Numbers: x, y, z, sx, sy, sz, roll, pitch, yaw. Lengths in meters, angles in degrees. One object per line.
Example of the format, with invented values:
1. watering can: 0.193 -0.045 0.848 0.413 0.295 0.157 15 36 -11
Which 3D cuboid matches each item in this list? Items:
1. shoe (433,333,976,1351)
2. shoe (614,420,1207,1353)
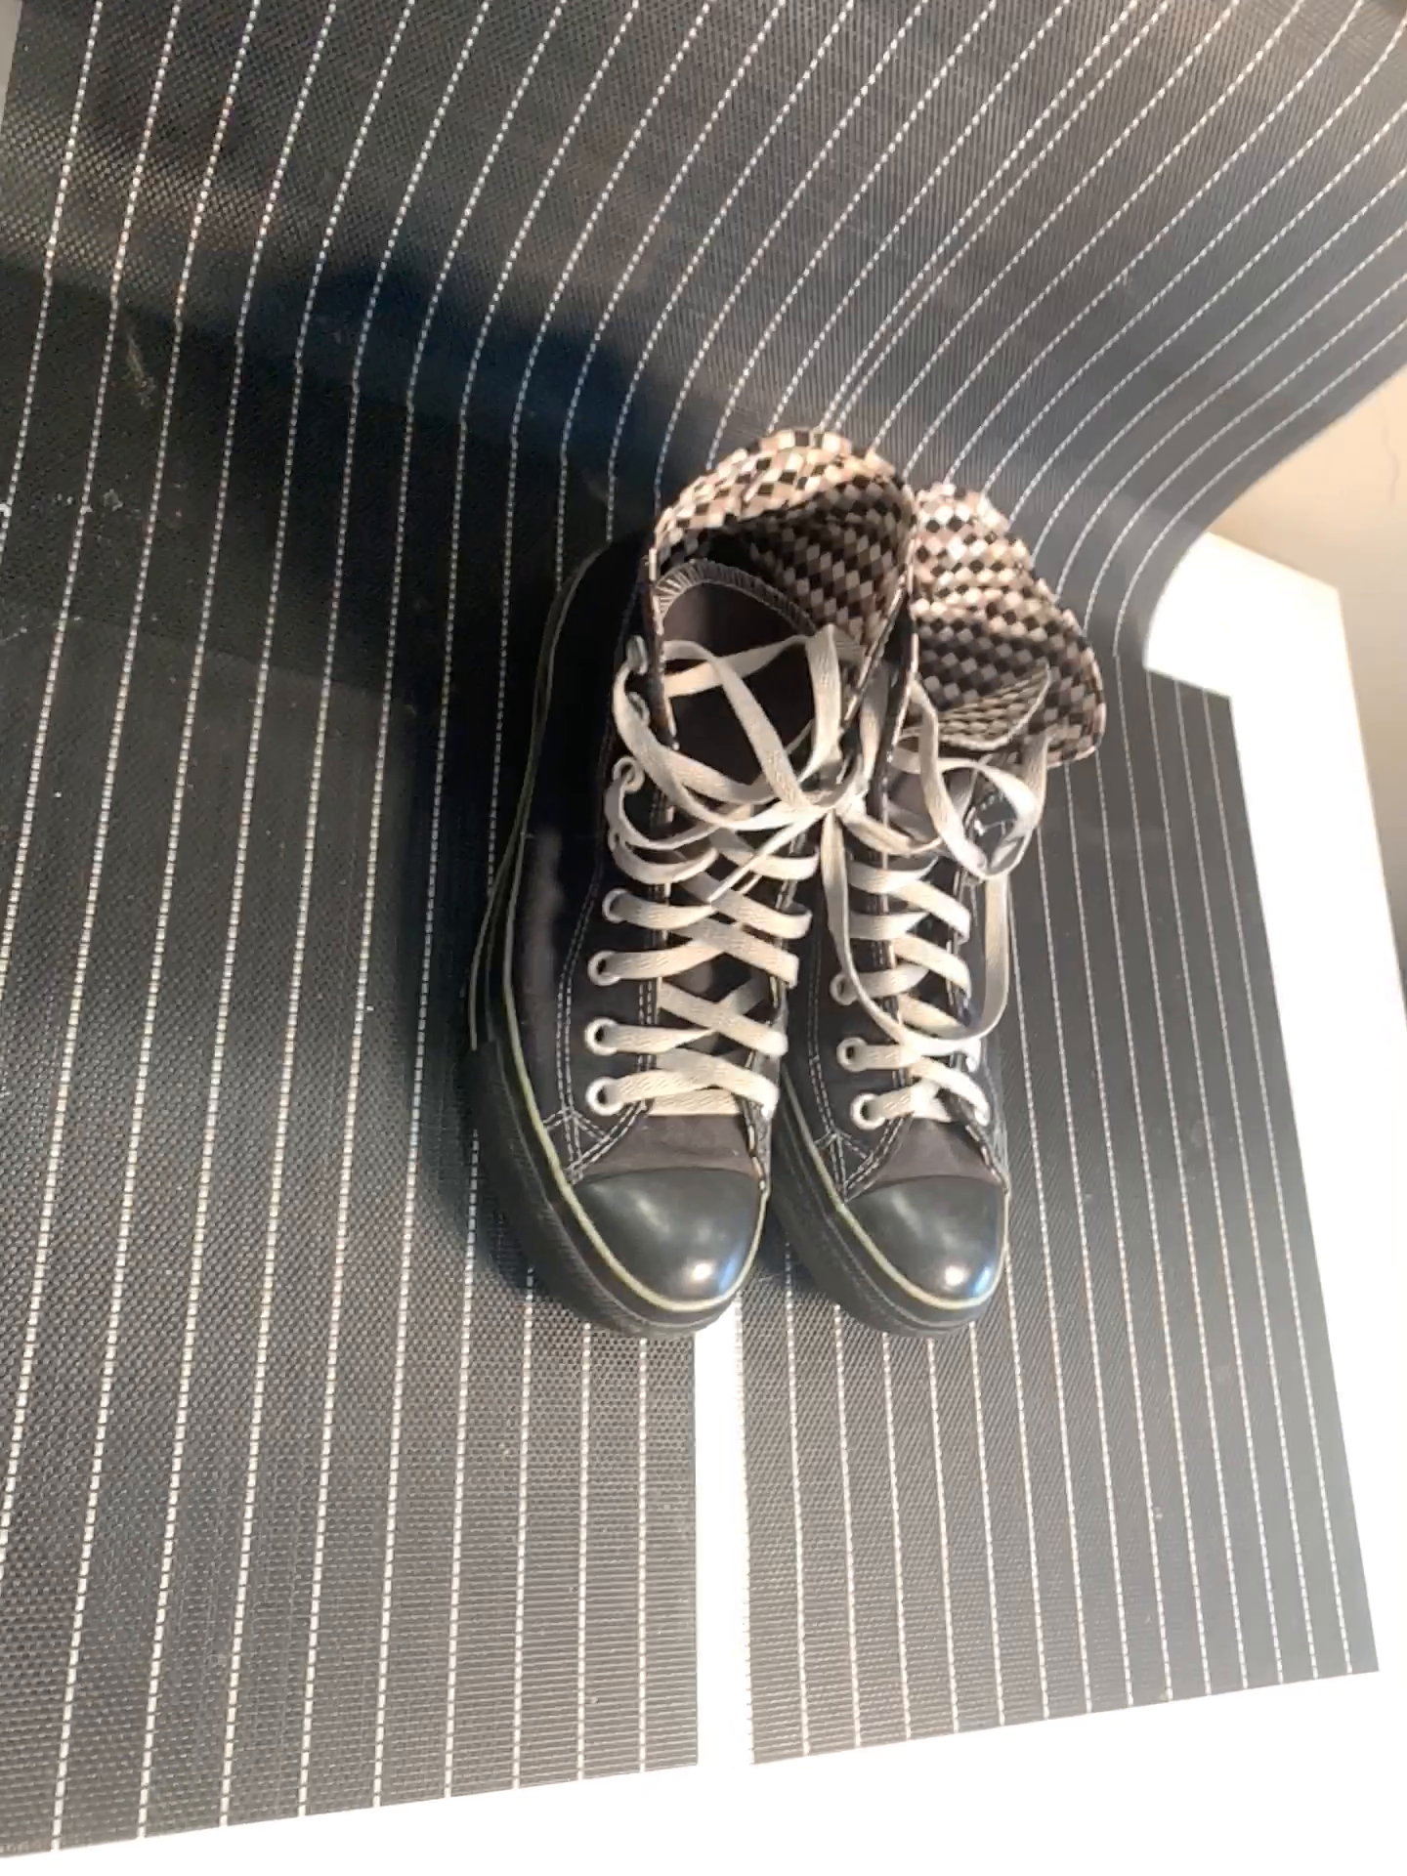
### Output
1. shoe: -0.011 -0.020 0.474 0.110 0.129 0.290 8 69 -30
2. shoe: 0.062 -0.011 0.520 0.110 0.129 0.290 2 72 -32
